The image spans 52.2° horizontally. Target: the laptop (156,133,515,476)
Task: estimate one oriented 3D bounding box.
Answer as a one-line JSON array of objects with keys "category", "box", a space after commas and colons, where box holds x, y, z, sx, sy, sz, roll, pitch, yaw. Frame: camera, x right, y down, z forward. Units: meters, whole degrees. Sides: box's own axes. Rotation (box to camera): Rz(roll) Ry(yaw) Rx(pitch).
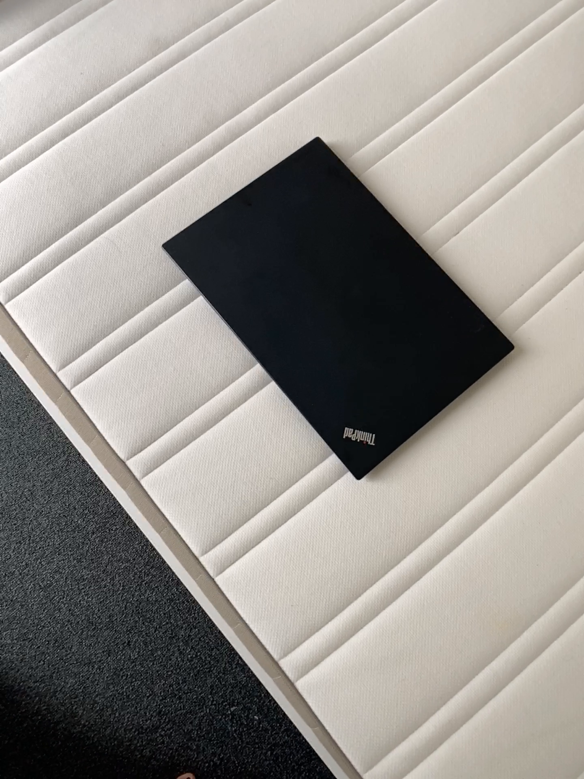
[{"category": "laptop", "box": [0.047, -0.104, 0.639, 0.225, 0.012, 0.325, -38, 81, -14]}]
